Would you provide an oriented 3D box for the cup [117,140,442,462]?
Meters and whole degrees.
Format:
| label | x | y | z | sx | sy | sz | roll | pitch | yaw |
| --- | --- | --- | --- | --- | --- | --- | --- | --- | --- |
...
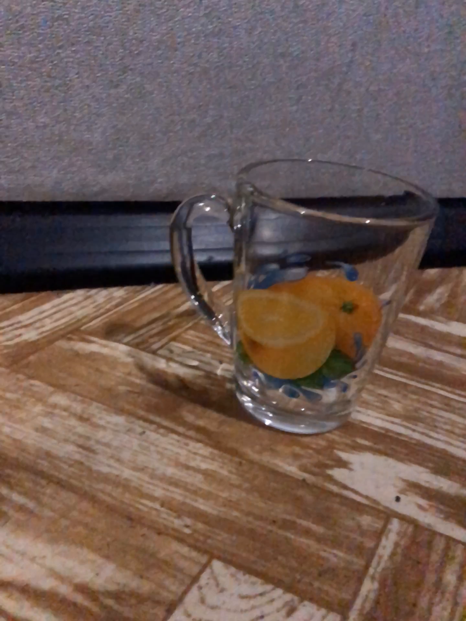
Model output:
| label | x | y | z | sx | sy | sz | roll | pitch | yaw |
| --- | --- | --- | --- | --- | --- | --- | --- | --- | --- |
| cup | 0.020 | -0.012 | 0.239 | 0.116 | 0.098 | 0.085 | 14 | 31 | 12 |
